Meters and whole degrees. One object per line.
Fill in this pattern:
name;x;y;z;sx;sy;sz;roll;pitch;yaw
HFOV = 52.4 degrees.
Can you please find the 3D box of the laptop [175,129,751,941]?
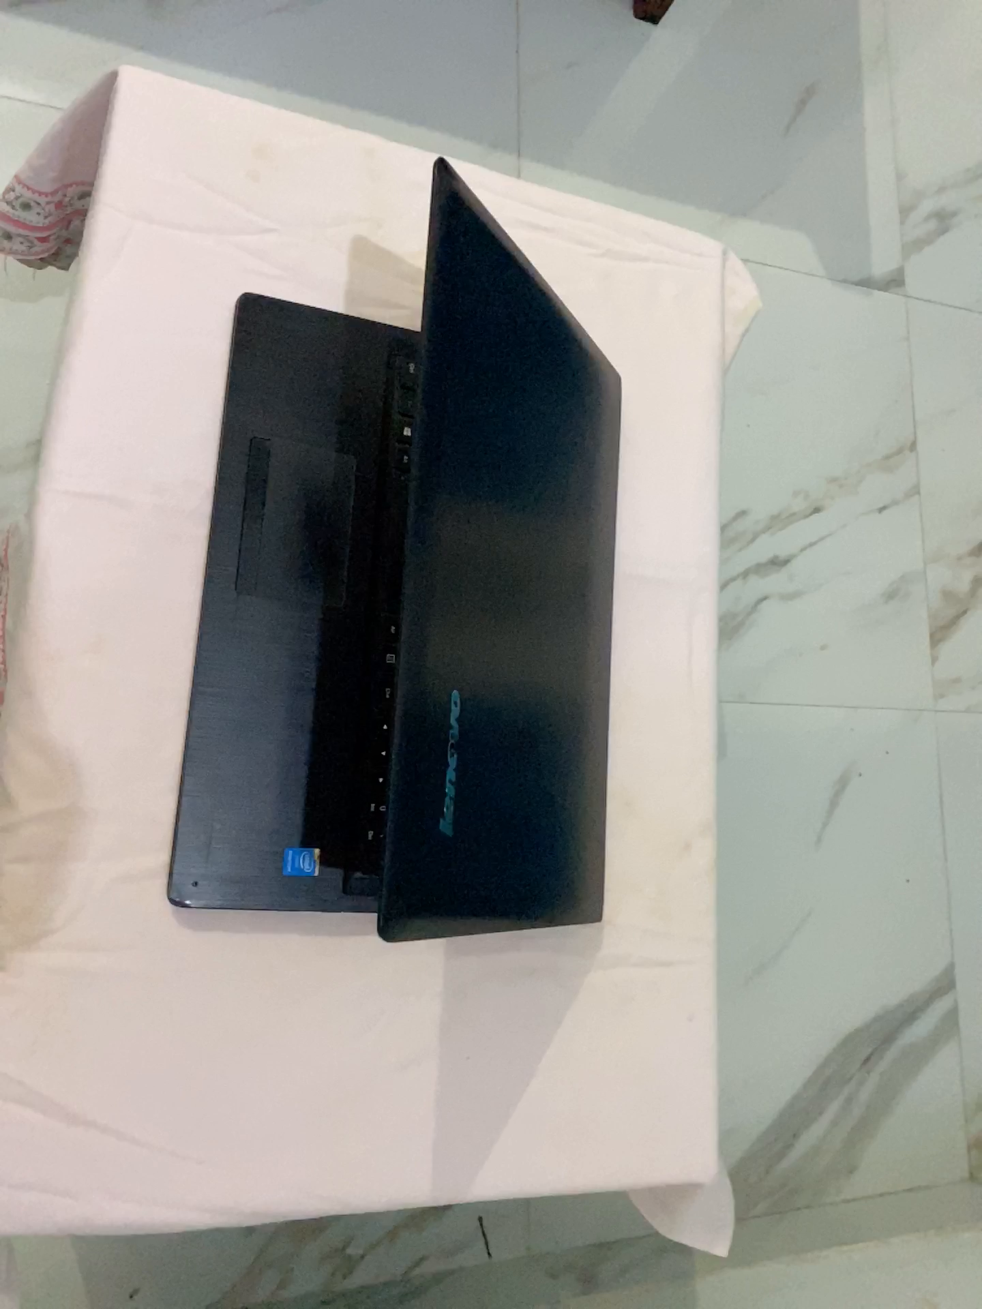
laptop;-0.018;-0.042;0.564;0.259;0.176;0.368;7;79;-19
